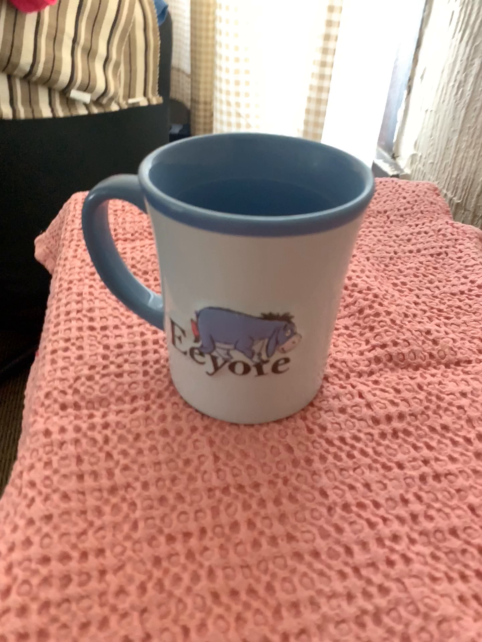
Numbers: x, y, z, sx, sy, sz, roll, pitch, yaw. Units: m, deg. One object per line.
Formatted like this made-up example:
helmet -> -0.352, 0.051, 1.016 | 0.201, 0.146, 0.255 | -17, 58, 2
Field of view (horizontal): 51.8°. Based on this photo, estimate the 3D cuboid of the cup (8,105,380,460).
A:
cup -> -0.010, -0.022, 0.210 | 0.110, 0.099, 0.091 | 12, 38, 12
